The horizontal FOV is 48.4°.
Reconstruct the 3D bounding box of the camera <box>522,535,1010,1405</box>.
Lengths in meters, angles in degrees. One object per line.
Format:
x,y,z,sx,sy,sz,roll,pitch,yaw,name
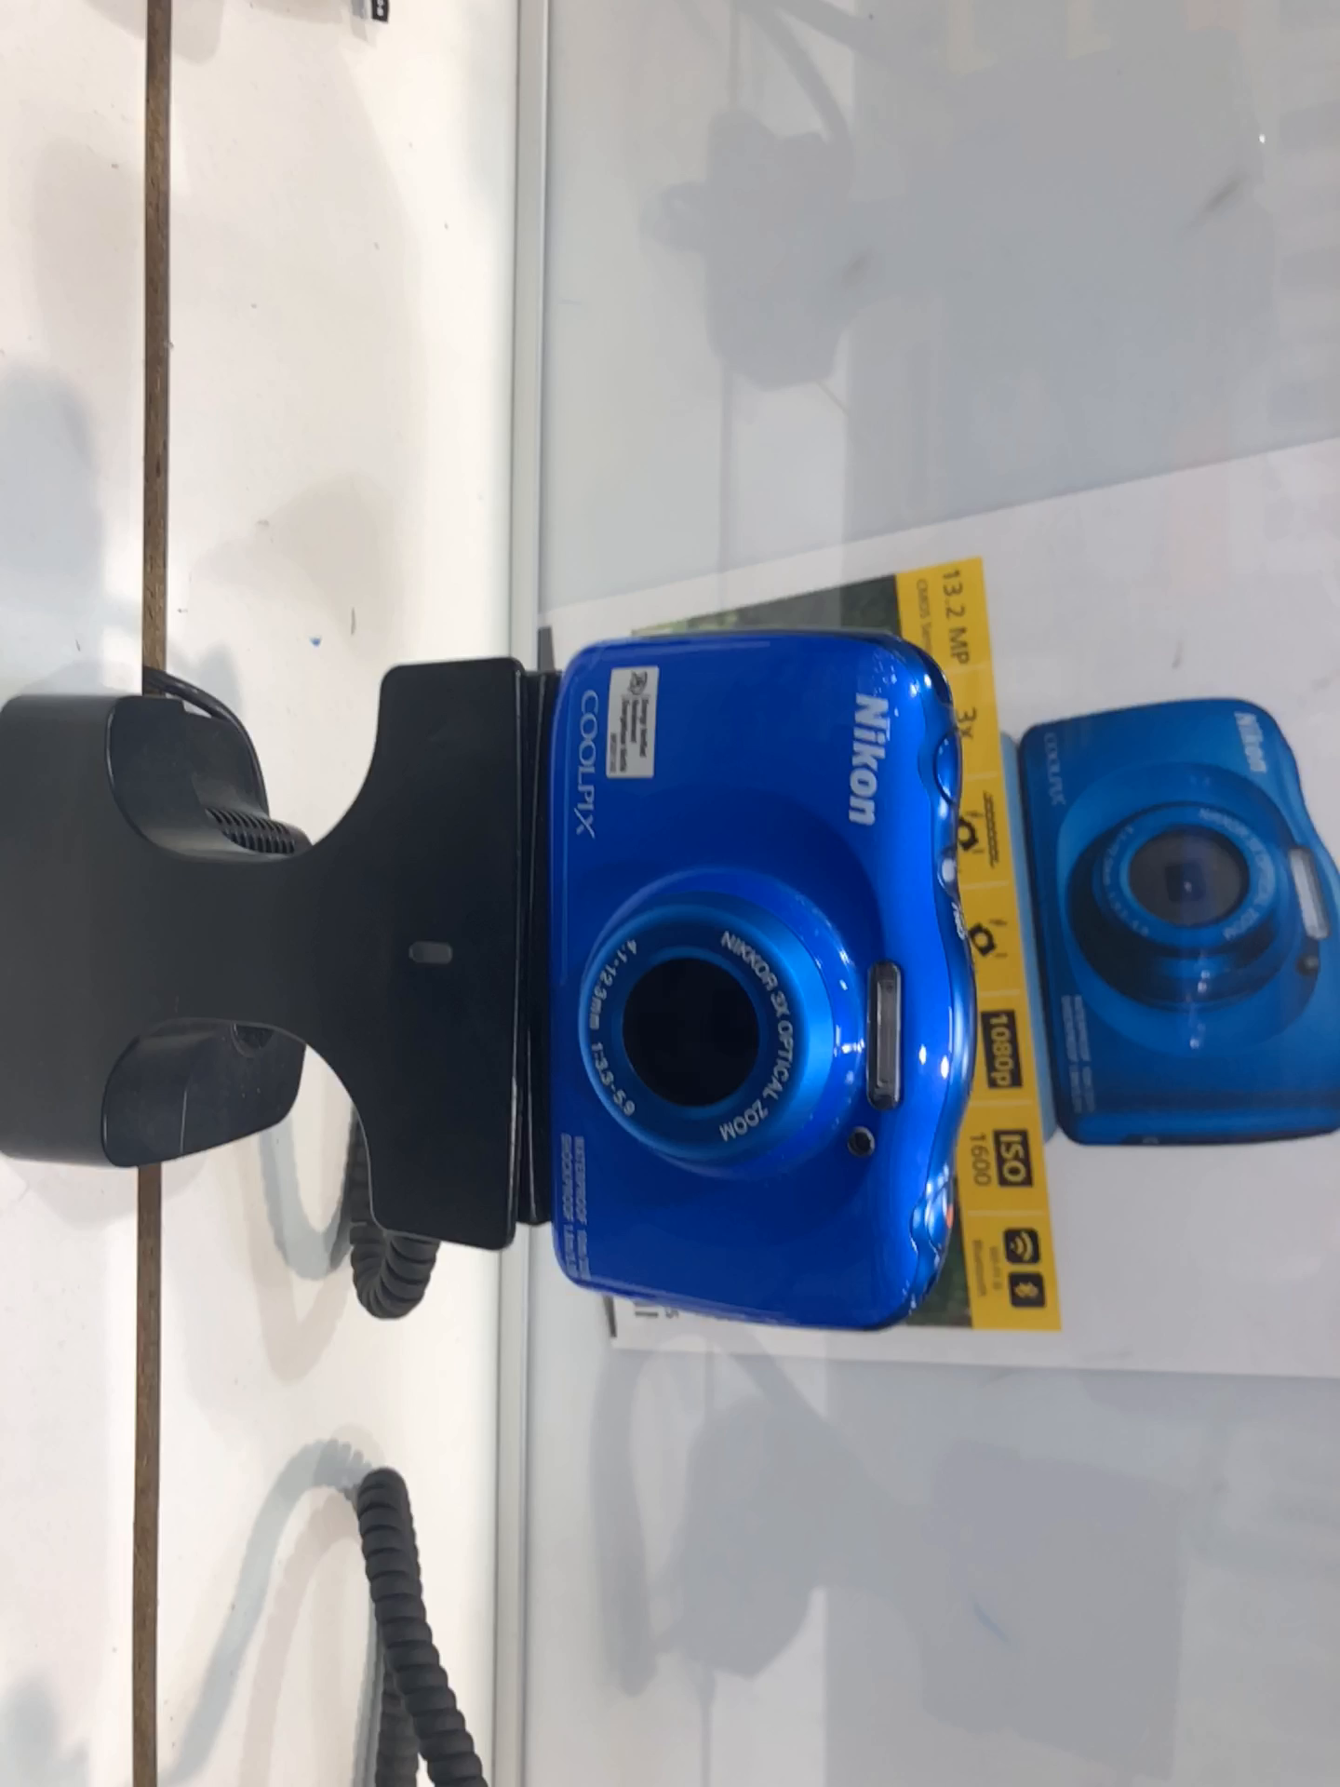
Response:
0.018,0.011,0.260,0.050,0.070,0.130,-3,94,-64,camera
